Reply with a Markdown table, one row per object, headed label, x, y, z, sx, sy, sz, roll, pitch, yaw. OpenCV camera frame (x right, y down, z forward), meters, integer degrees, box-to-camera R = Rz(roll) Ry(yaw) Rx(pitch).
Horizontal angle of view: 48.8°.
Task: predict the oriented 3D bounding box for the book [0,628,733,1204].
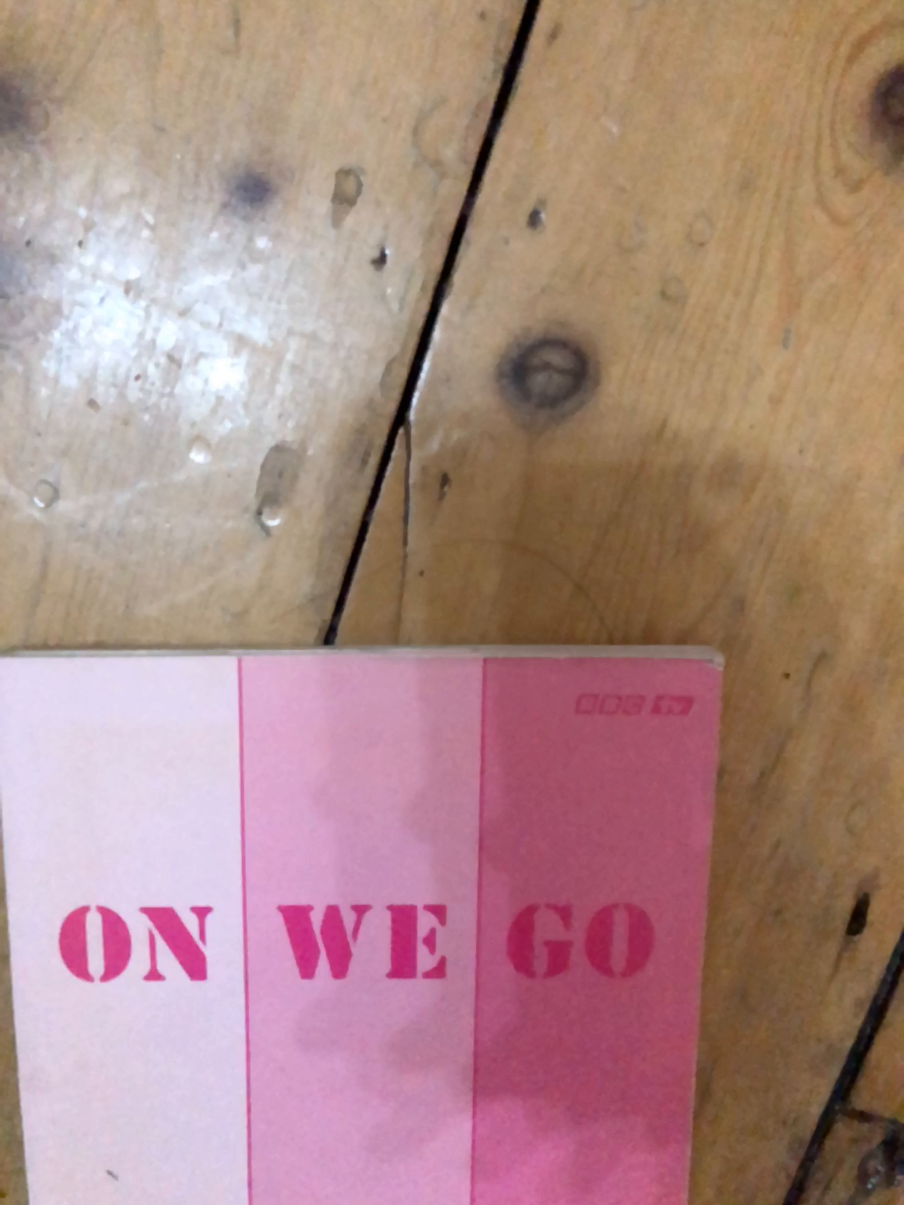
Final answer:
| label | x | y | z | sx | sy | sz | roll | pitch | yaw |
| --- | --- | --- | --- | --- | --- | --- | --- | --- | --- |
| book | -0.022 | 0.116 | 0.237 | 0.160 | 0.020 | 0.220 | 0 | 101 | -2 |
